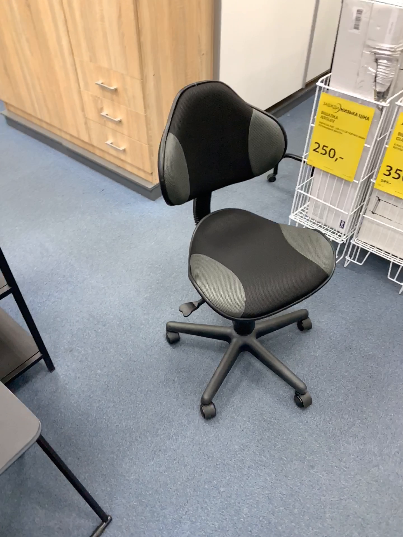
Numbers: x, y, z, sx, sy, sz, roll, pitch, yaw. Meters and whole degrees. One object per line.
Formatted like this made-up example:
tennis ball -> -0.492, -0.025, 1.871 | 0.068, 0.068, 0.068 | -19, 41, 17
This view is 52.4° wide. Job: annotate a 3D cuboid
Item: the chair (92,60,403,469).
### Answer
chair -> 0.163, -0.017, 1.298 | 0.631, 0.916, 0.692 | -24, 49, -22
